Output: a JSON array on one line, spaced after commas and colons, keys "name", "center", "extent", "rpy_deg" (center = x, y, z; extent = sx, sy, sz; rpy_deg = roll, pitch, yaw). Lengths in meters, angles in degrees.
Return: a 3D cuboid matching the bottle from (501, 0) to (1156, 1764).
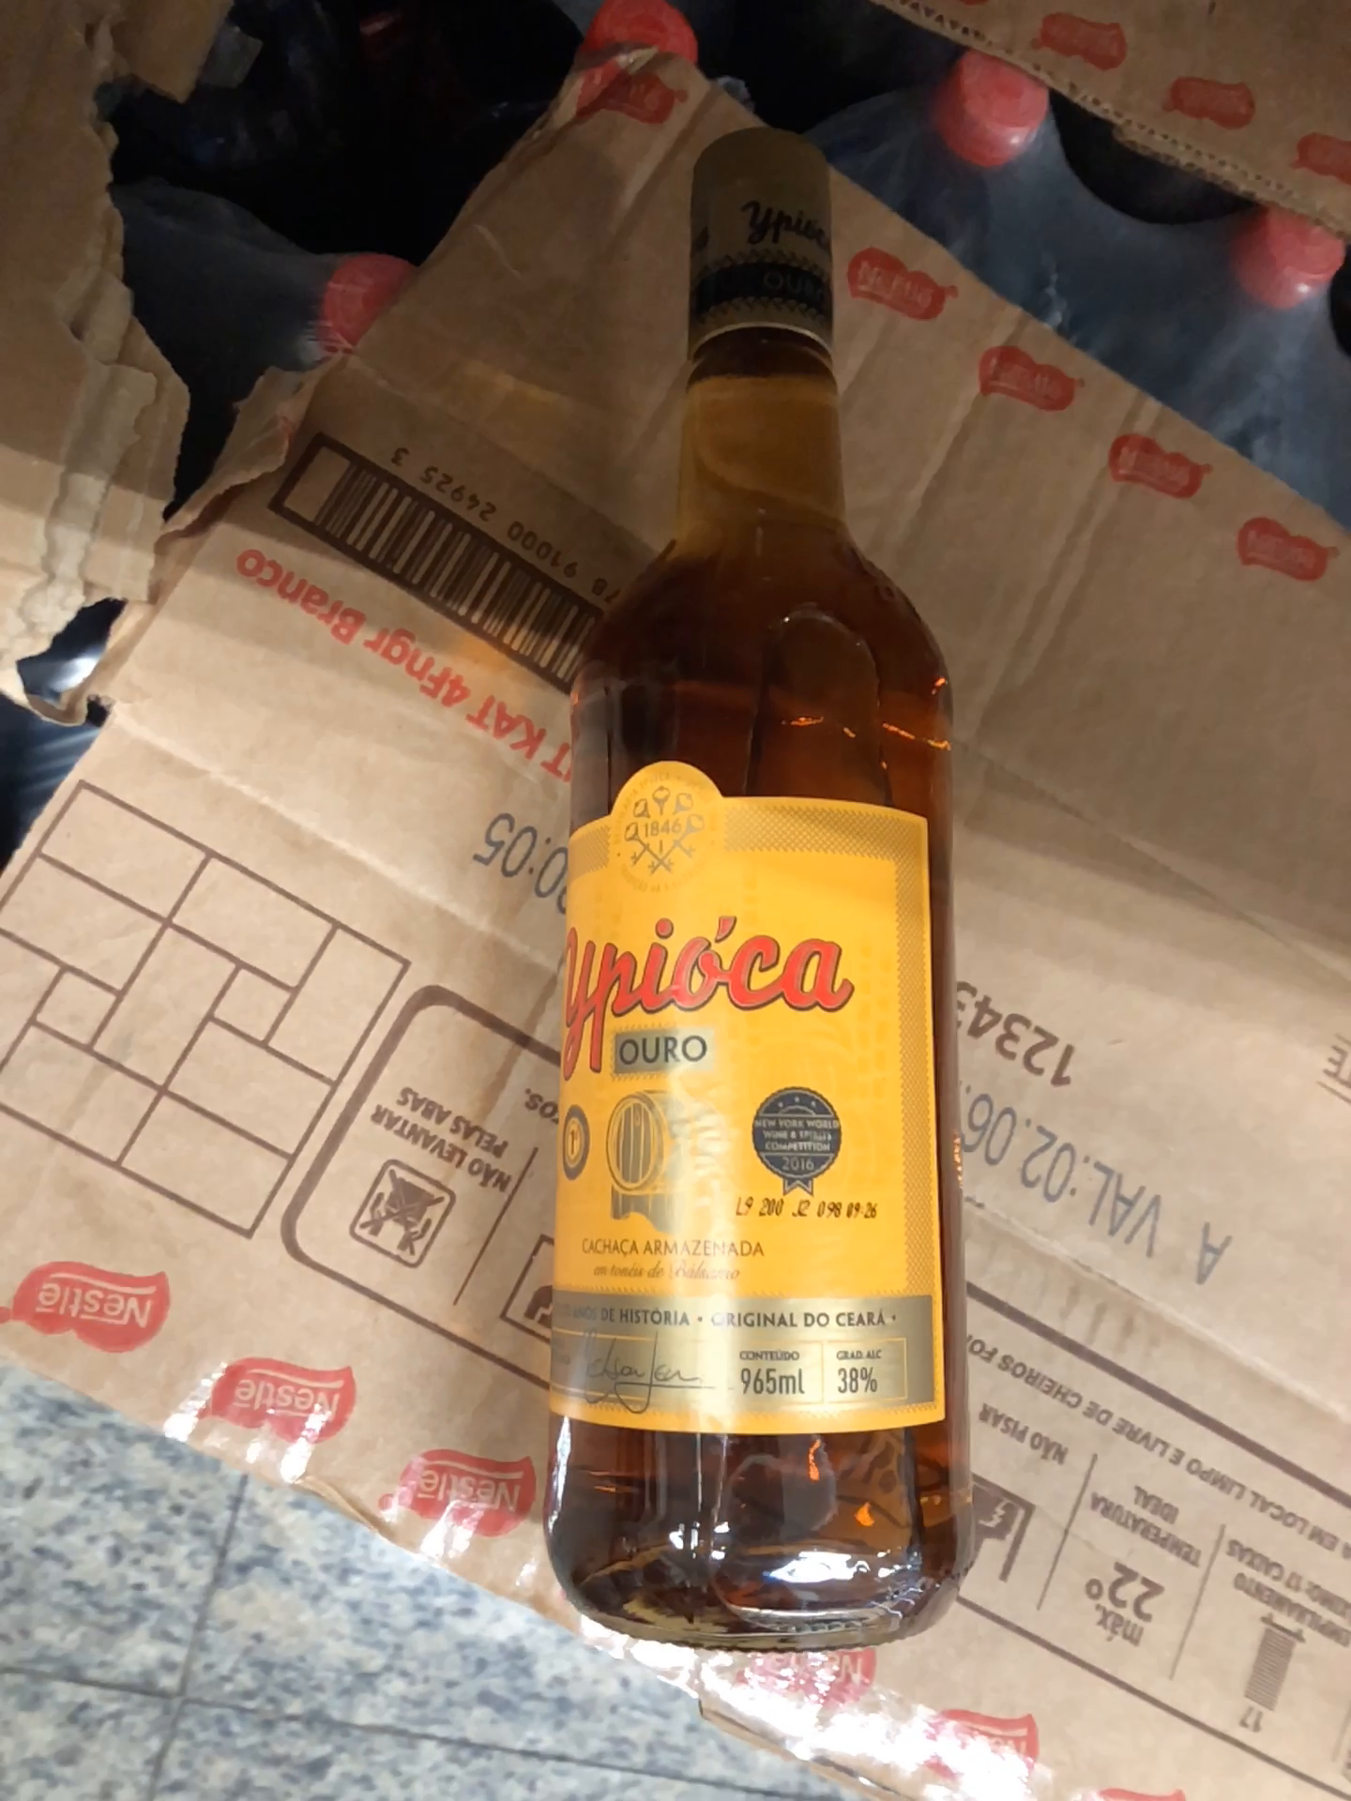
[{"name": "bottle", "center": [0.034, -0.022, 0.295], "extent": [0.090, 0.080, 0.310], "rpy_deg": [16, 71, -52]}]
